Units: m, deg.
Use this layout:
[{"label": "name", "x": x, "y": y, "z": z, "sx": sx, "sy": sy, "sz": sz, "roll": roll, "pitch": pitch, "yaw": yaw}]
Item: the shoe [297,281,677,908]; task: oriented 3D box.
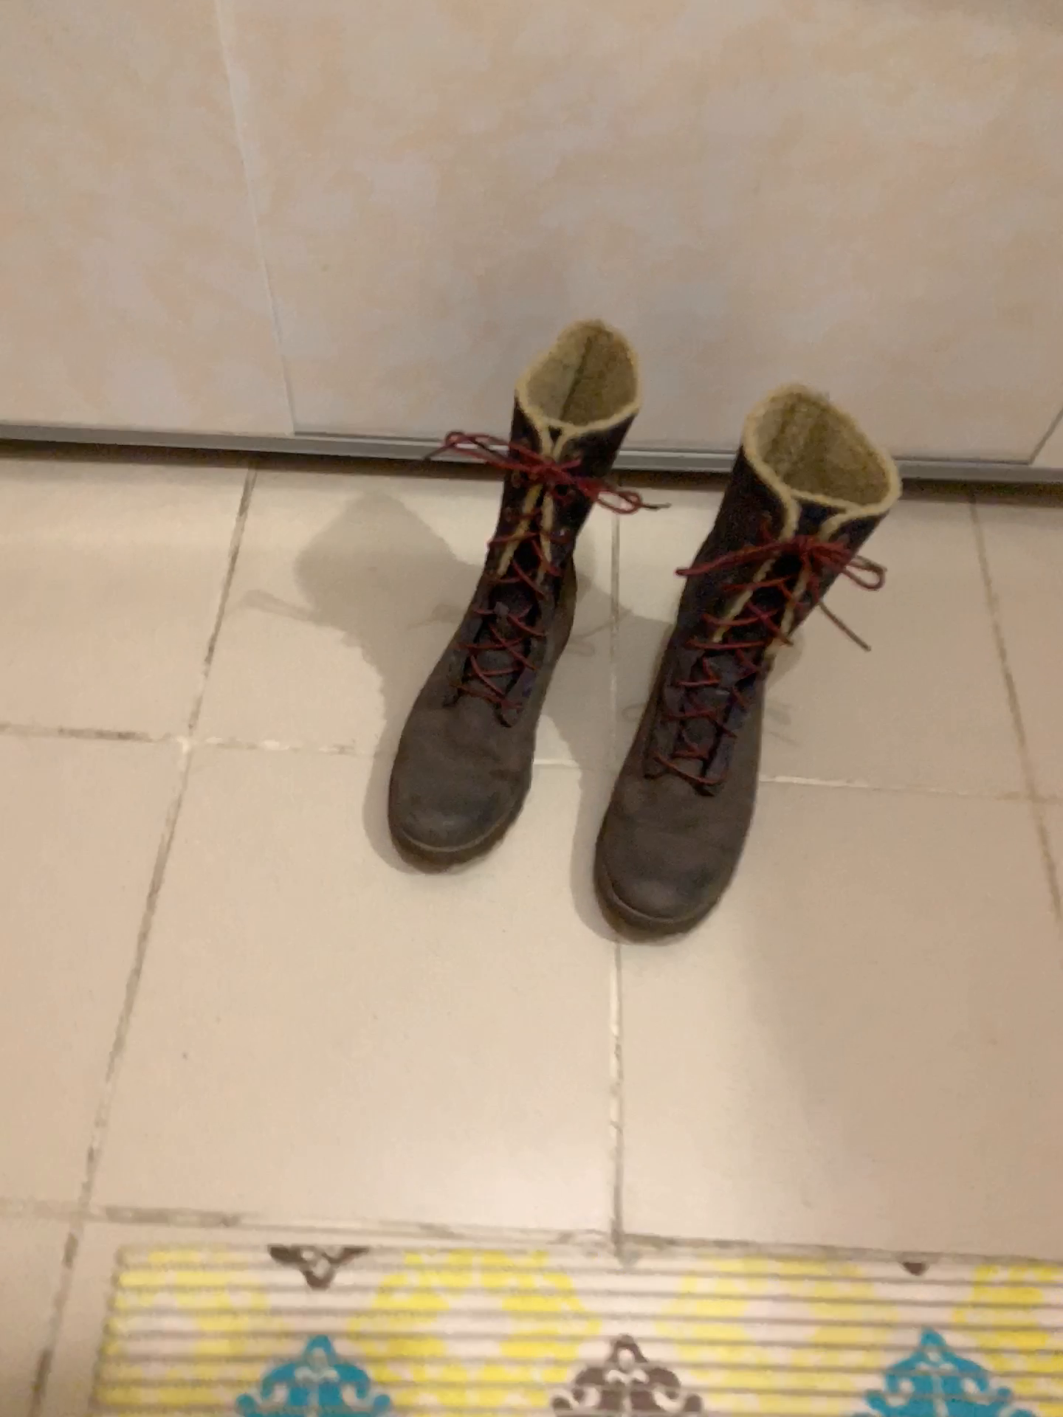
[{"label": "shoe", "x": -0.027, "y": -0.060, "z": 0.662, "sx": 0.100, "sy": 0.250, "sz": 0.281, "roll": 21, "pitch": 60, "yaw": 4}]

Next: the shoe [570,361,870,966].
[{"label": "shoe", "x": 0.112, "y": -0.017, "z": 0.678, "sx": 0.100, "sy": 0.249, "sz": 0.281, "roll": 14, "pitch": 63, "yaw": 8}]
